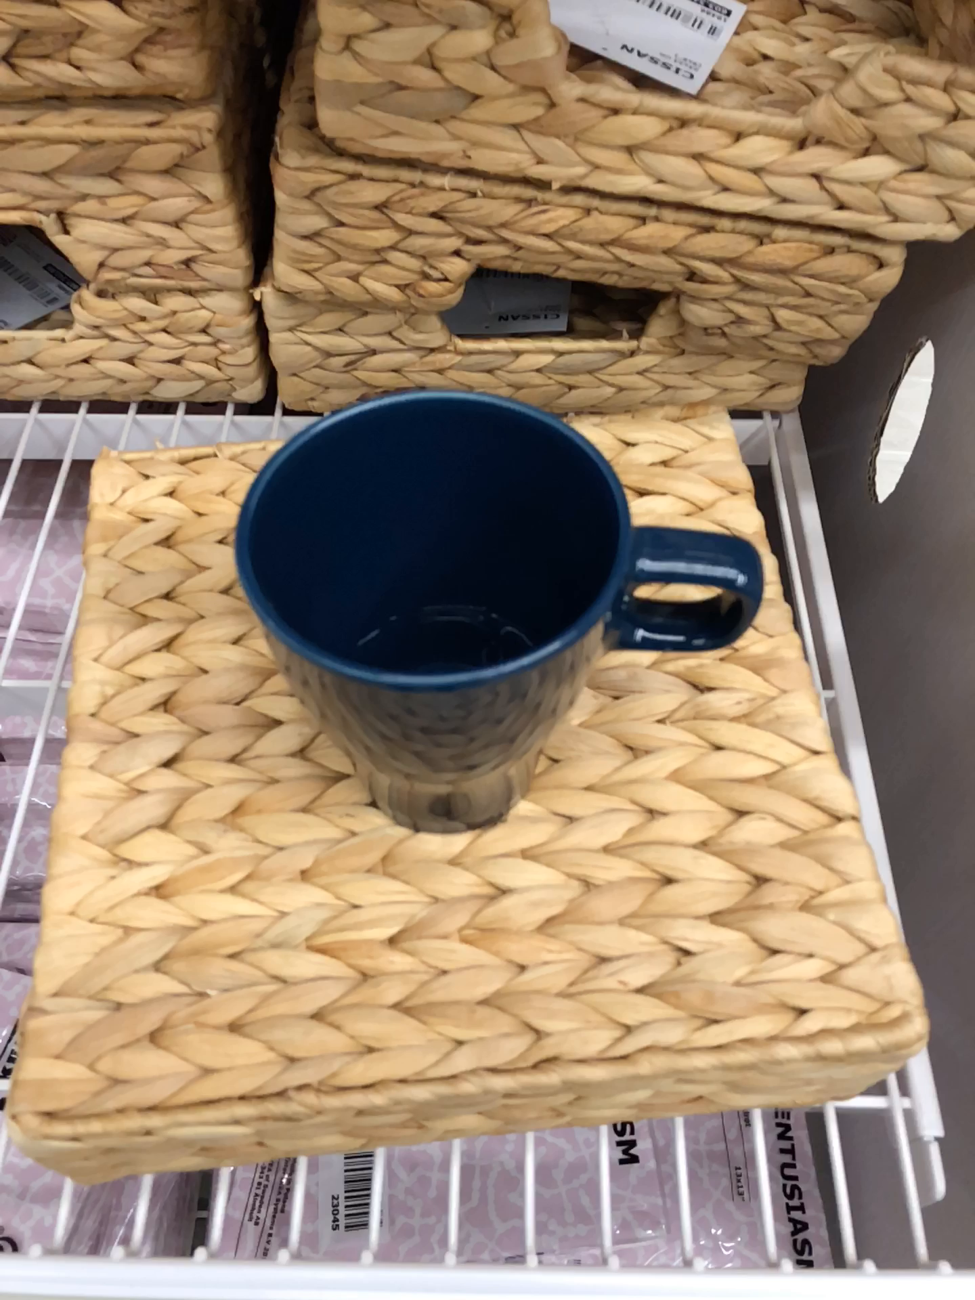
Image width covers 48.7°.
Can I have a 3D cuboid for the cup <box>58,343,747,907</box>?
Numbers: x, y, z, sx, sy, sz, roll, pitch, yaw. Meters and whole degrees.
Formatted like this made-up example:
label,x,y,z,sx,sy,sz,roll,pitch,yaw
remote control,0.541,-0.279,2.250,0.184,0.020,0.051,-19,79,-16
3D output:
label,x,y,z,sx,sy,sz,roll,pitch,yaw
cup,-0.011,-0.003,0.244,0.120,0.090,0.080,5,56,4
